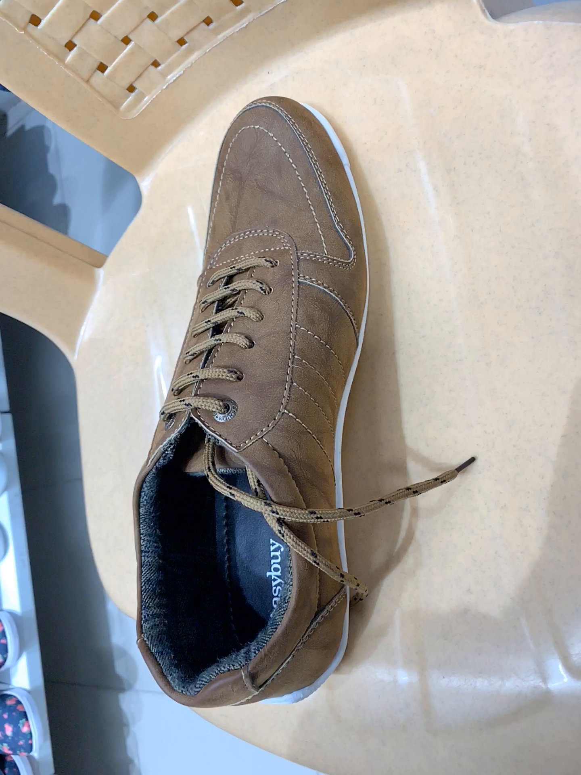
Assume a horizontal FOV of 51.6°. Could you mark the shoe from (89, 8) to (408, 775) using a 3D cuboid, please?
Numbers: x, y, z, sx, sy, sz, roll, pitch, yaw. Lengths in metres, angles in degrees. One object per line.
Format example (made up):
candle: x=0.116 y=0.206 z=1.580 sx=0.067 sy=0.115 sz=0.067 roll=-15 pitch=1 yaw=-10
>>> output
shoe: x=-0.010 y=-0.003 z=0.302 sx=0.100 sy=0.100 sz=0.310 roll=-7 pitch=74 yaw=37
